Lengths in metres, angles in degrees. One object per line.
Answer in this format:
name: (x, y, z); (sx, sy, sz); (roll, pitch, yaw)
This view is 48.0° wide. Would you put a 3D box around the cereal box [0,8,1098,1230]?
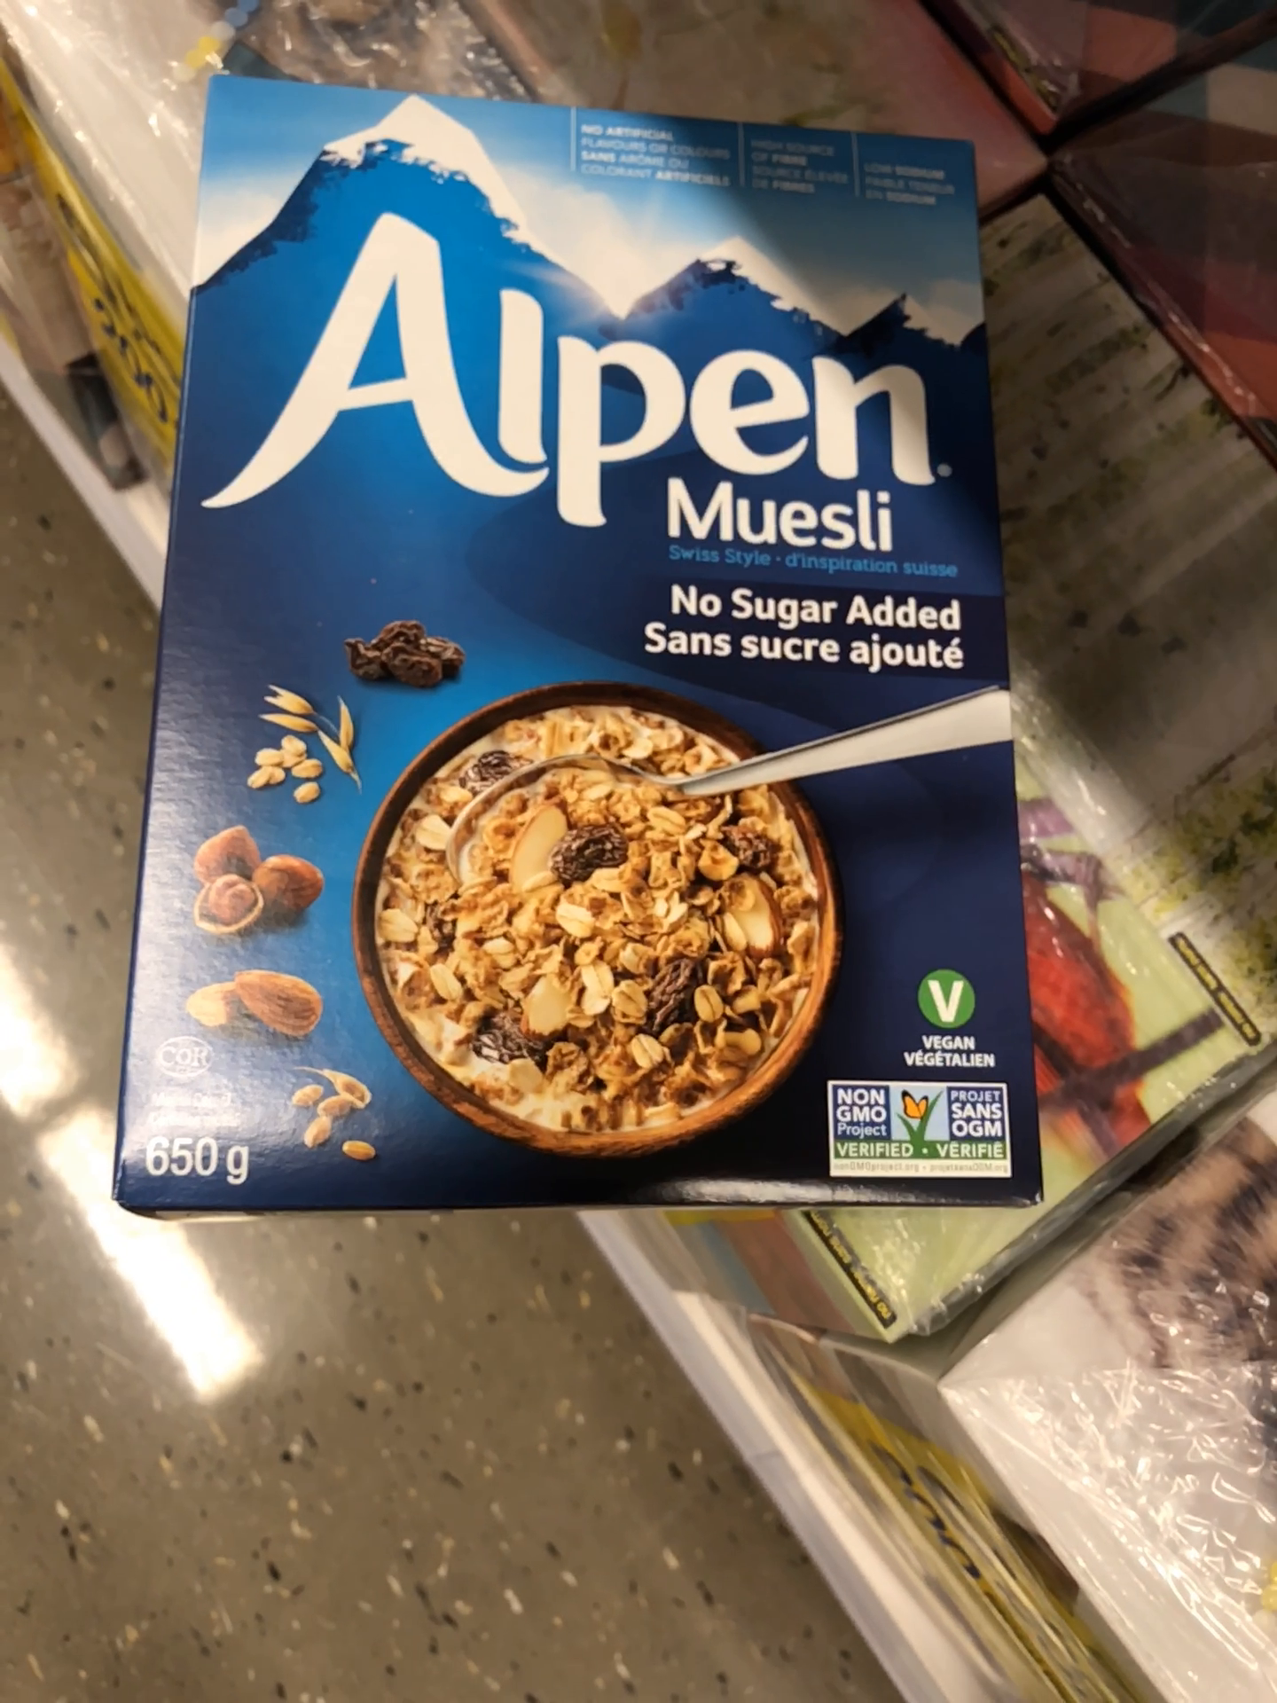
cereal box: (-0.016, -0.049, 0.311); (0.200, 0.050, 0.250); (1, 76, -7)
